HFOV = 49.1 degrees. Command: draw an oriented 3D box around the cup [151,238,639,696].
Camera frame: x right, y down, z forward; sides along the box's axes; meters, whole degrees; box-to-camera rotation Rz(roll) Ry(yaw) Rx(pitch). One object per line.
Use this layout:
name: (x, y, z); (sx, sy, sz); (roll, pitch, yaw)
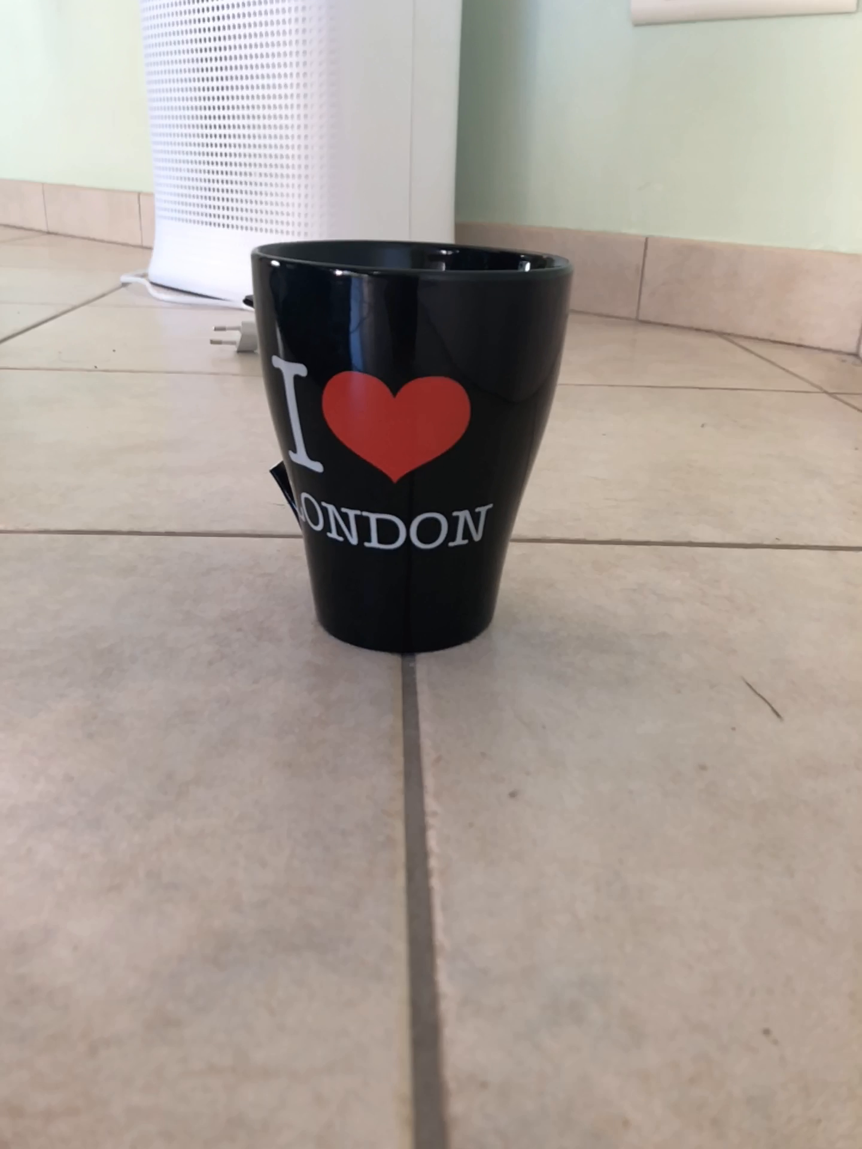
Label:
cup: (-0.005, -0.042, 0.287); (0.108, 0.103, 0.098); (2, 23, -1)
